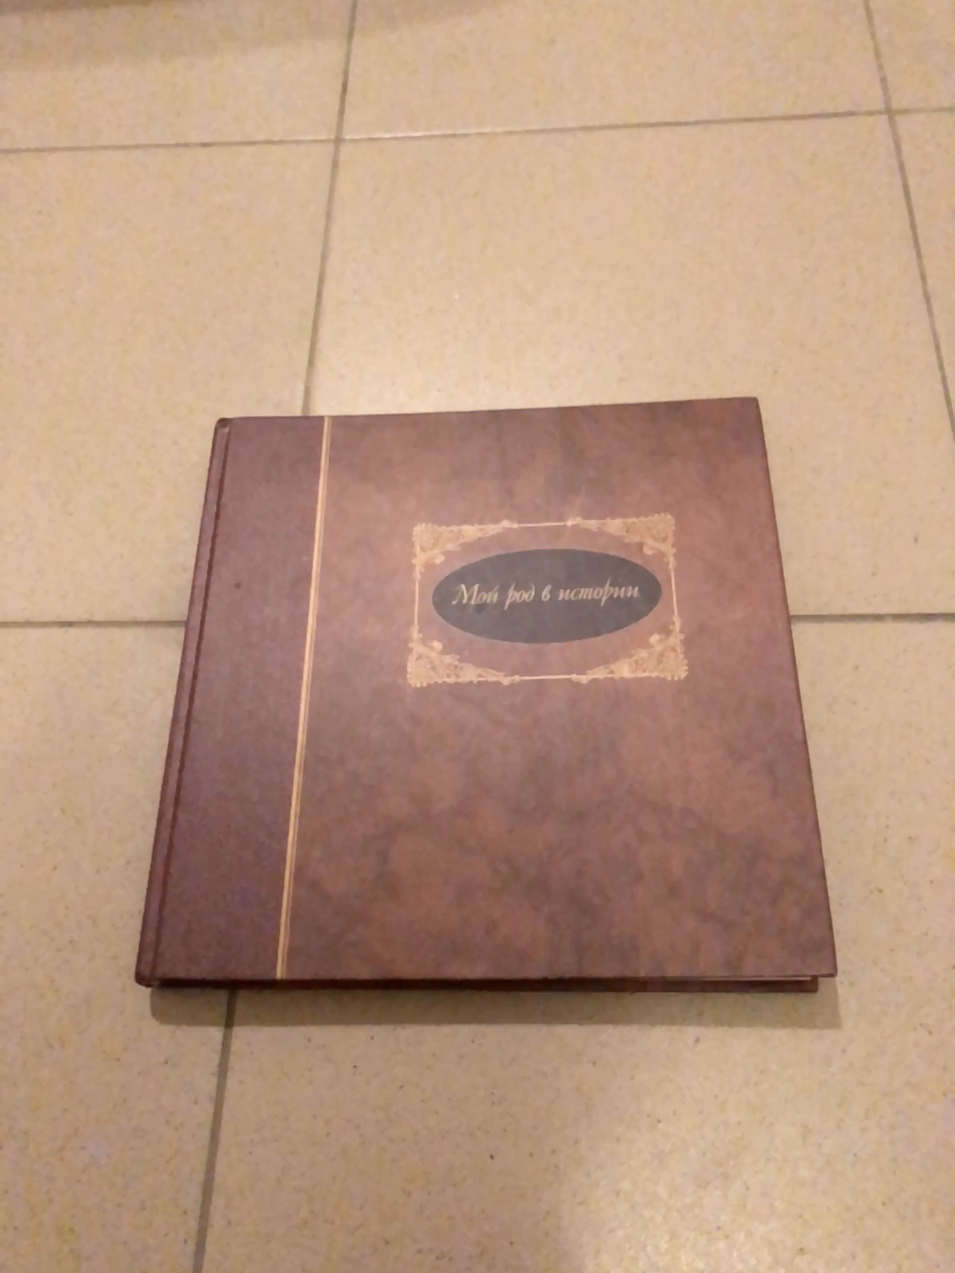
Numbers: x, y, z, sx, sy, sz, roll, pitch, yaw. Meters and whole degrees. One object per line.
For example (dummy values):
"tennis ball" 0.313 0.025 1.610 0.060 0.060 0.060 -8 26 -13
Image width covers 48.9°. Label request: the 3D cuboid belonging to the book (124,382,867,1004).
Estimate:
"book" 0.004 0.013 0.418 0.244 0.038 0.245 -2 62 5
